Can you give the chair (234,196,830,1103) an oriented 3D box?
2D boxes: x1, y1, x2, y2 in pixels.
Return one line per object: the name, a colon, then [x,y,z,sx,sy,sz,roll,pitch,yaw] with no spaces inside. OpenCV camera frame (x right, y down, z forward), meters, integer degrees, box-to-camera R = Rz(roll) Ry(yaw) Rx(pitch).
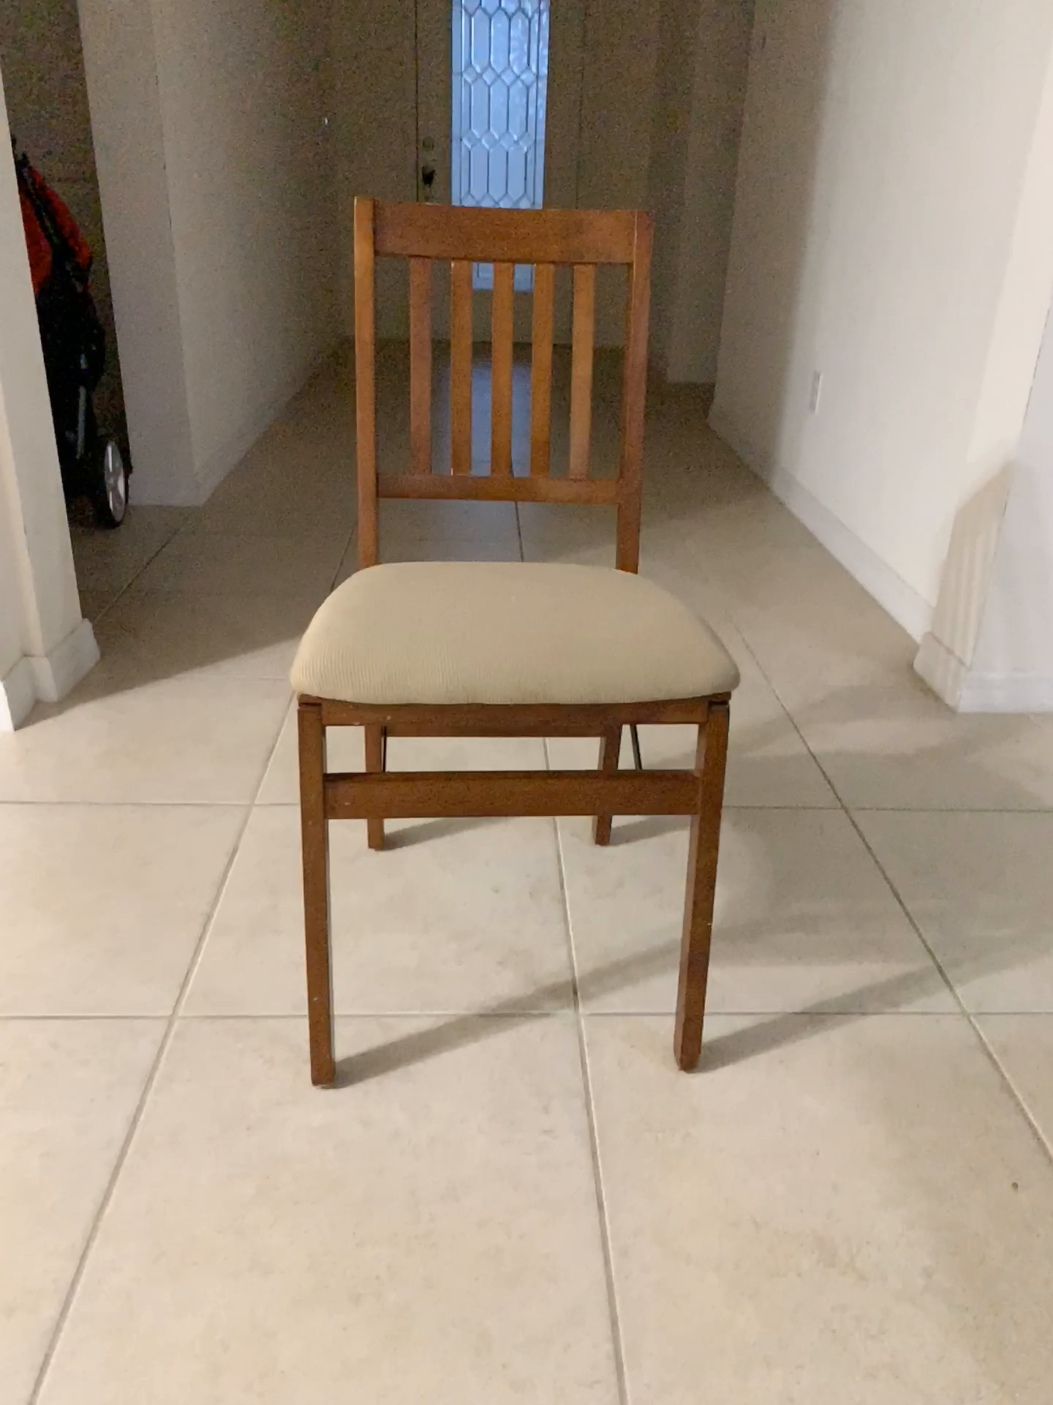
chair: [-0.024,-0.096,1.258,0.450,0.882,0.595,1,24,-4]
